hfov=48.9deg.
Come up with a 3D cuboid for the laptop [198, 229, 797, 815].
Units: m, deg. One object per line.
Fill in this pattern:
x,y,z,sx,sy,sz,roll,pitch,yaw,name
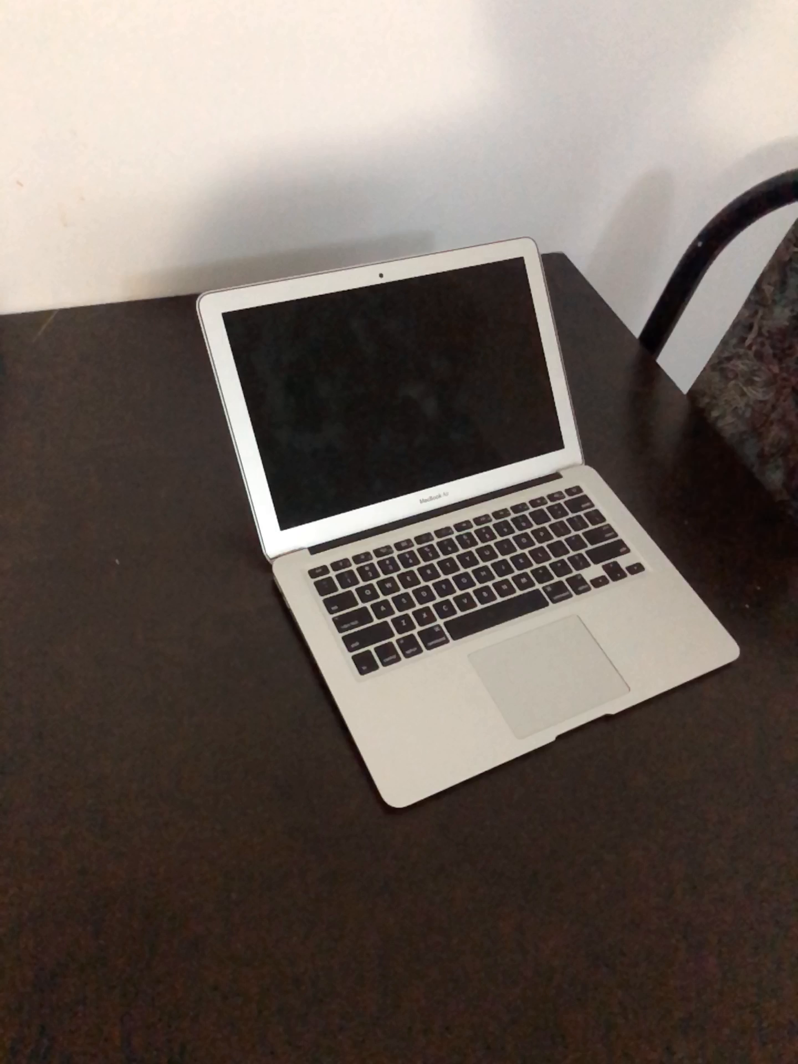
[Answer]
0.058,-0.042,0.651,0.303,0.136,0.362,-17,55,-22,laptop
